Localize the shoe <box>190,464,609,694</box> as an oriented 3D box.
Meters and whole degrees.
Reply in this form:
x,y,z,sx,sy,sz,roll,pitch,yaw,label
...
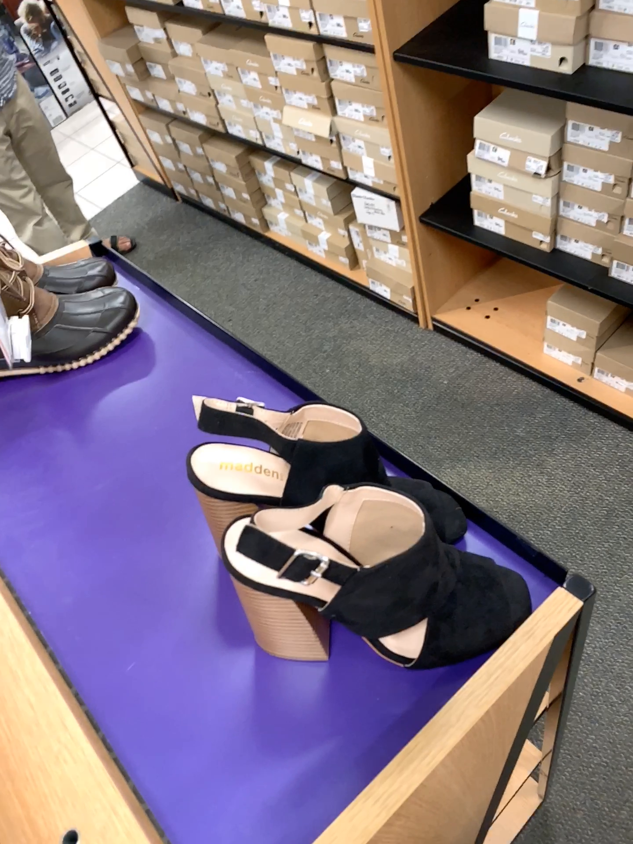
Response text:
x,y,z,sx,sy,sz,roll,pitch,yaw,label
0.036,0.108,0.409,0.220,0.140,0.080,6,54,-6,shoe

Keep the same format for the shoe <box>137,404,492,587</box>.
x,y,z,sx,sy,sz,roll,pitch,yaw,label
-0.004,0.055,0.466,0.220,0.110,0.080,-1,53,-4,shoe
